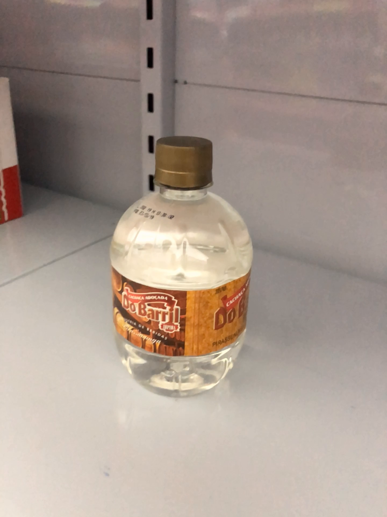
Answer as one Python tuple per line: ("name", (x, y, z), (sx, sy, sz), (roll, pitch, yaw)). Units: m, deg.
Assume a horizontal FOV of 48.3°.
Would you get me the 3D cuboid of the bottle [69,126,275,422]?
("bottle", (-0.009, 0.003, 0.256), (0.080, 0.139, 0.081), (2, 26, -1))
